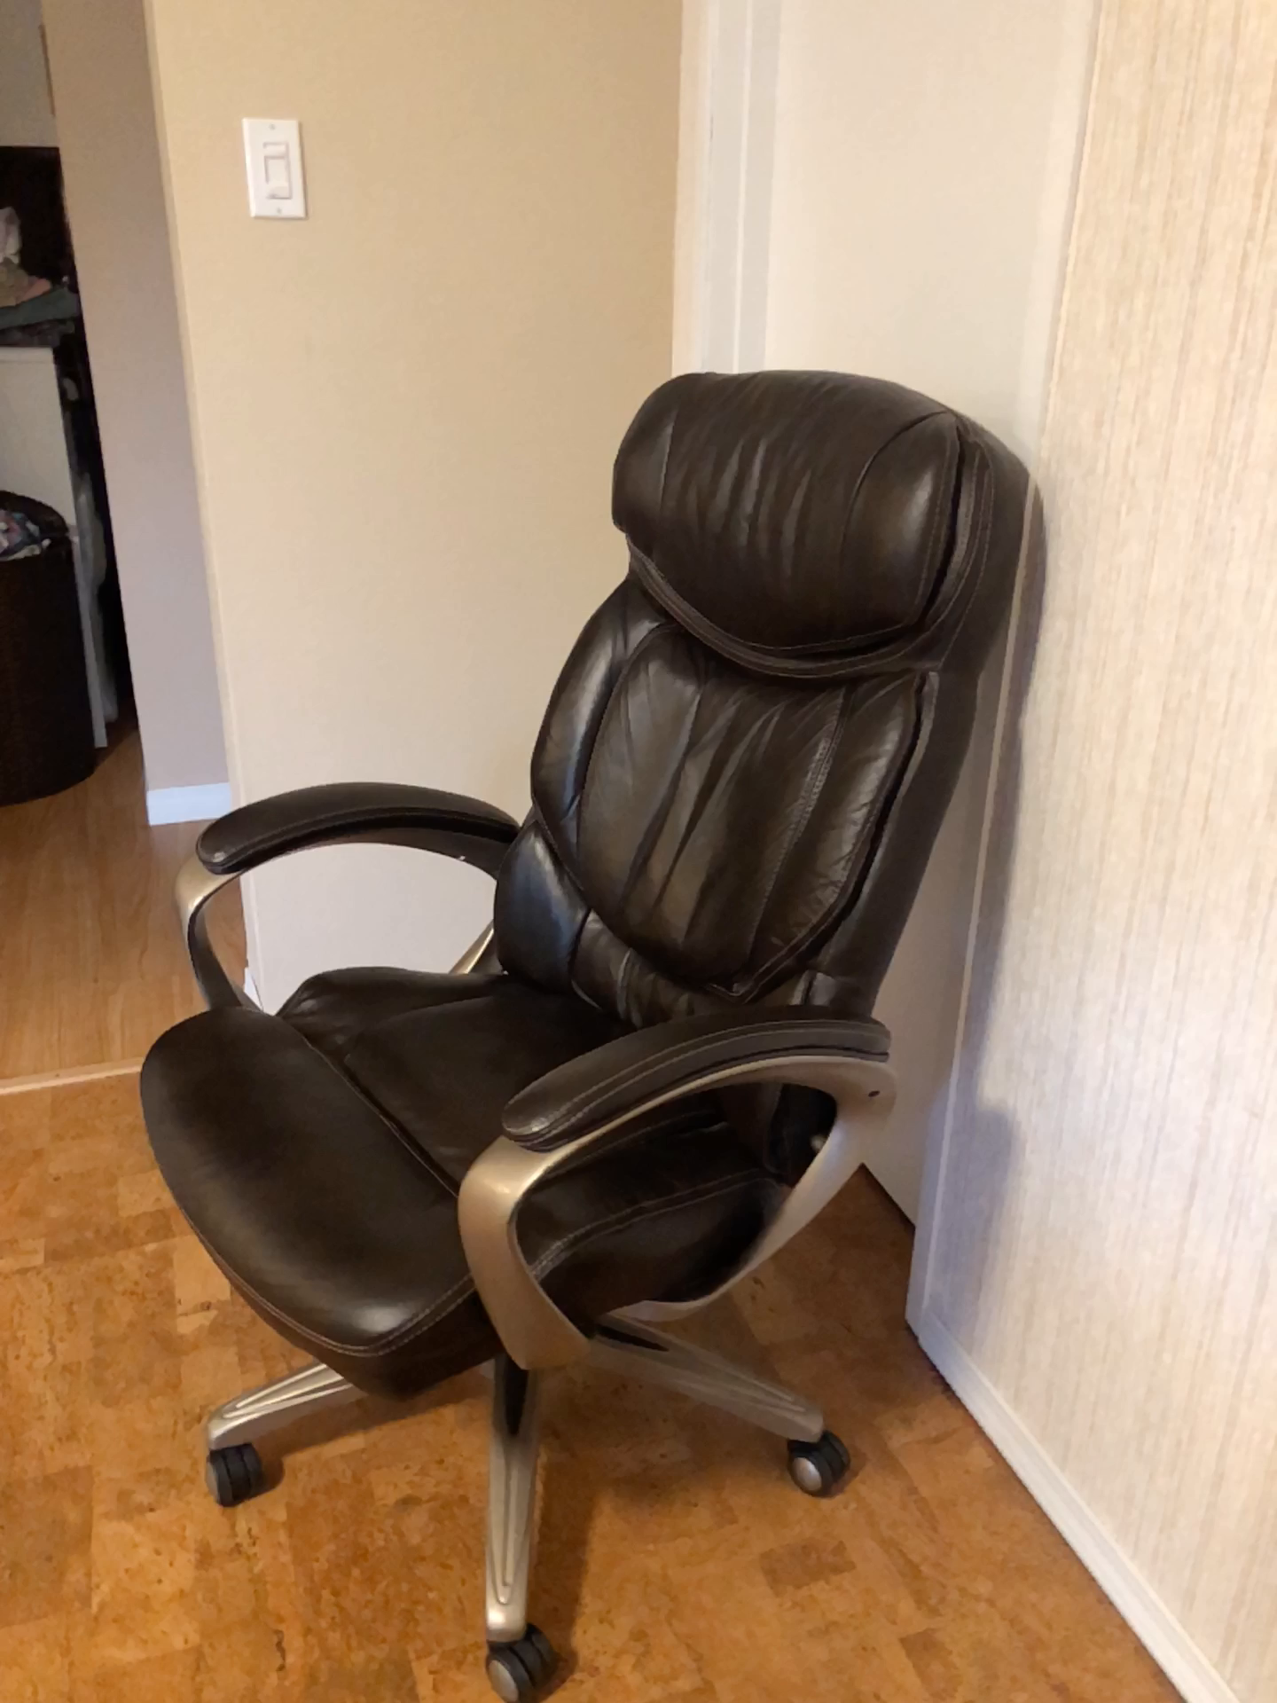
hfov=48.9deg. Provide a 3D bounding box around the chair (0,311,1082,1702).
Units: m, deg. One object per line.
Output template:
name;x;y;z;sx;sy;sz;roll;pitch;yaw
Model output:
chair;-0.144;0.092;1.327;0.651;1.086;0.692;-17;29;-37
